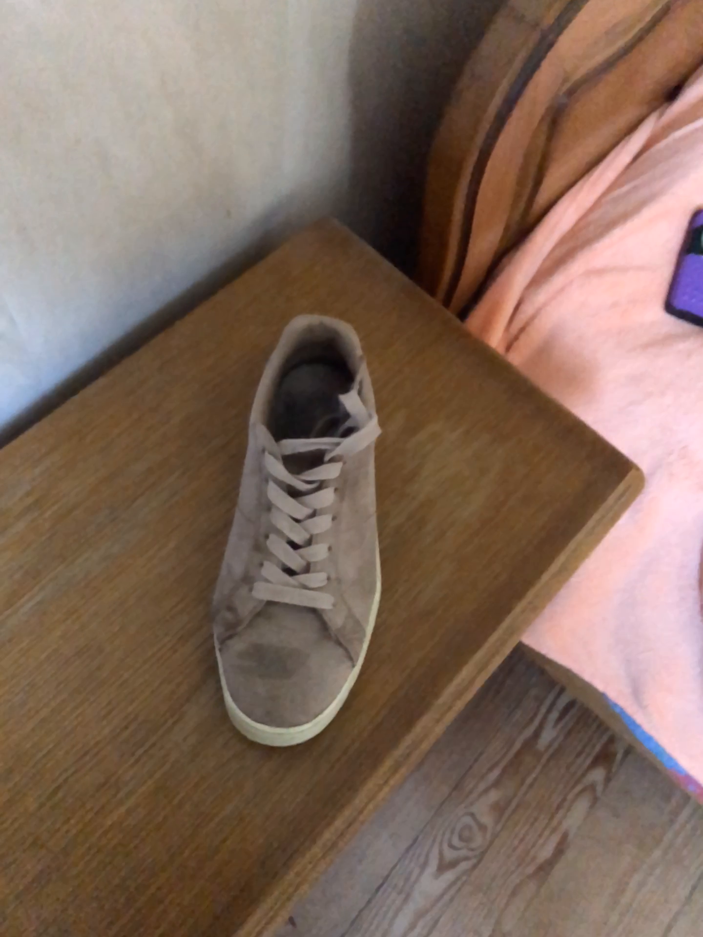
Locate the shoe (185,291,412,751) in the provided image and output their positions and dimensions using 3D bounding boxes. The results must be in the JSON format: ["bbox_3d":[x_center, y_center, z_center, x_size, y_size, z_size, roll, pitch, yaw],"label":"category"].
[{"bbox_3d":[-0.027,0.028,0.476,0.110,0.090,0.261,4,63,-5],"label":"shoe"}]
